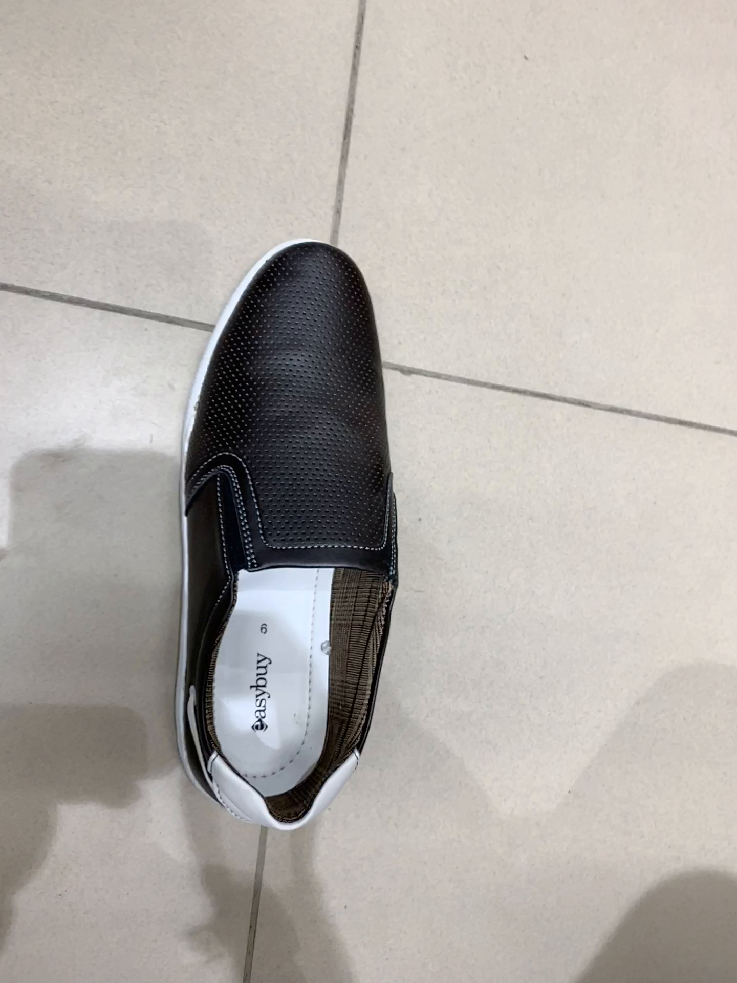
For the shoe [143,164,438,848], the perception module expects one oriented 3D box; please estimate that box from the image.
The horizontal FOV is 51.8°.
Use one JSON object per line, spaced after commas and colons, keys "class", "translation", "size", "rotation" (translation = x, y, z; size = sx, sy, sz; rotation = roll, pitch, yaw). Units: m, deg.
{"class": "shoe", "translation": [-0.043, 0.009, 0.391], "size": [0.110, 0.090, 0.300], "rotation": [6, 85, -18]}
